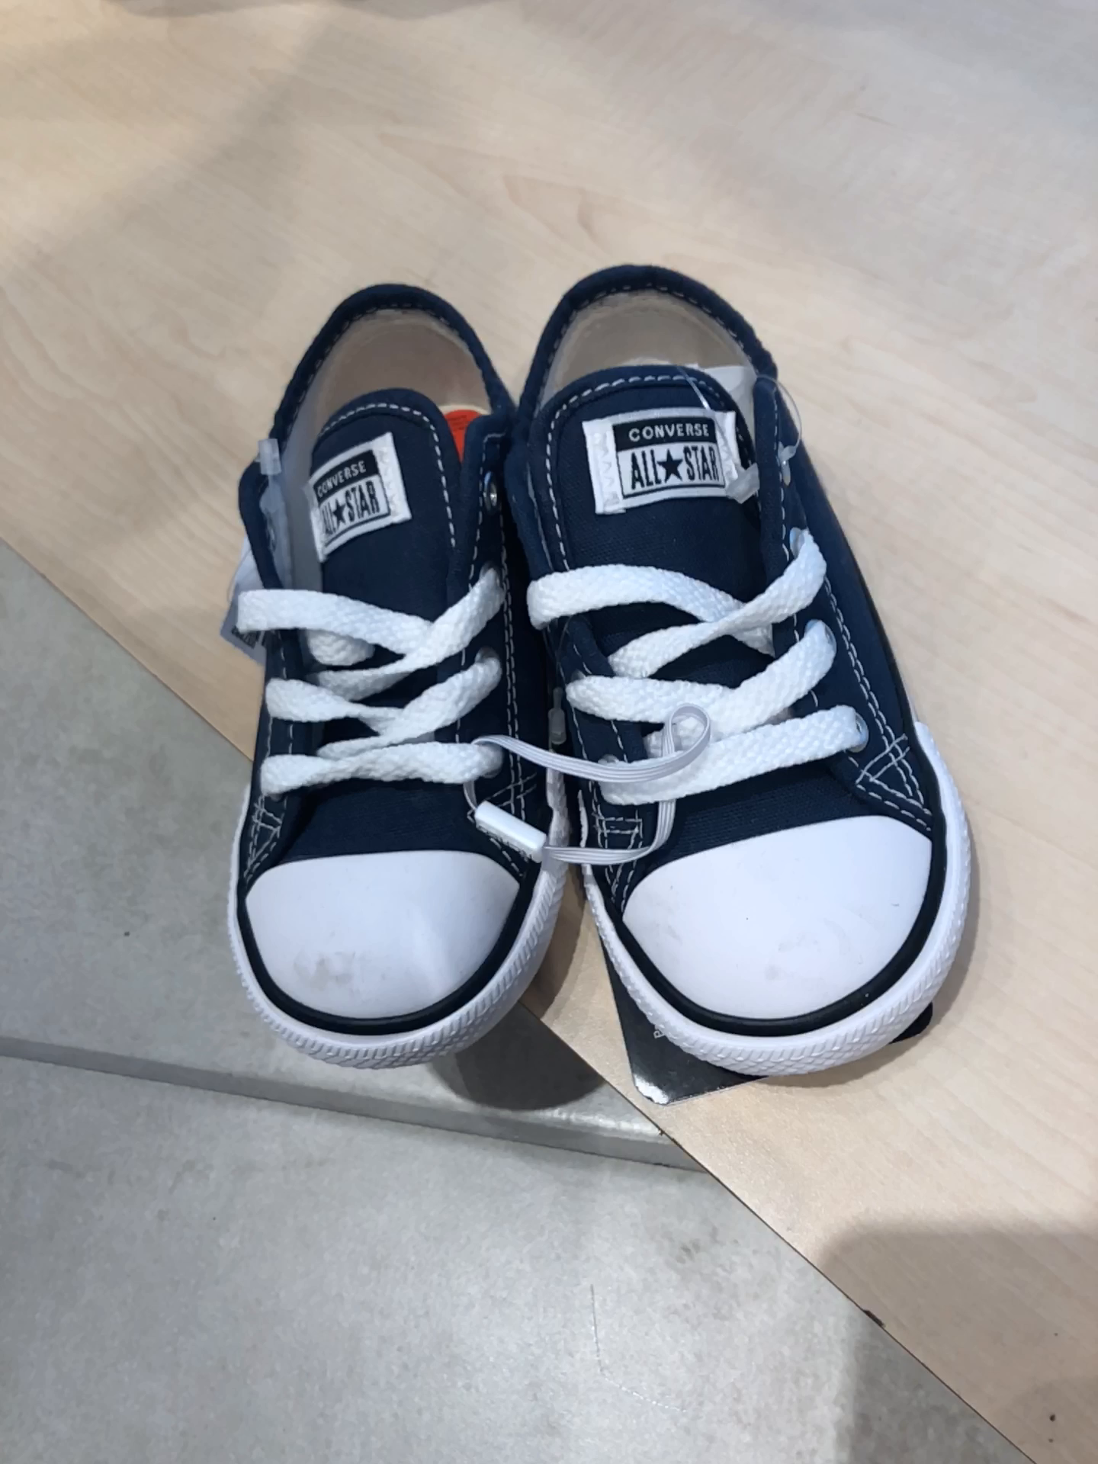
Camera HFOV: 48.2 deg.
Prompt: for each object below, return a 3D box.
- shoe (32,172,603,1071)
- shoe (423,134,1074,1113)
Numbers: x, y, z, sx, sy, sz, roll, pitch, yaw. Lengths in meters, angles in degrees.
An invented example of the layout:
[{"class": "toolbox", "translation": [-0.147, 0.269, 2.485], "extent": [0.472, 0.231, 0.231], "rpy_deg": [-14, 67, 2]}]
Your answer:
[{"class": "shoe", "translation": [-0.035, -0.023, 0.252], "extent": [0.080, 0.060, 0.171], "rpy_deg": [-3, 66, 12]}, {"class": "shoe", "translation": [0.030, -0.023, 0.240], "extent": [0.080, 0.060, 0.171], "rpy_deg": [-12, 64, 8]}]
